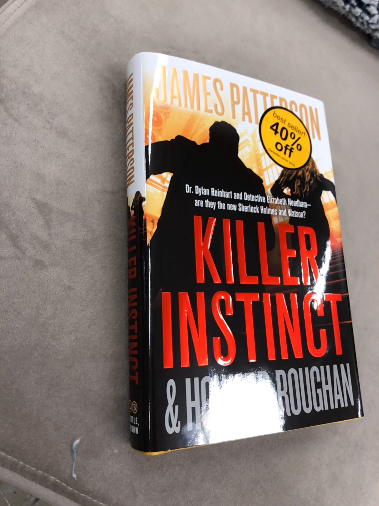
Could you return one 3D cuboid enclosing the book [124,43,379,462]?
[{"bbox_3d":[0.045,-0.003,0.291,0.172,0.038,0.237,4,77,-27],"label":"book"}]
